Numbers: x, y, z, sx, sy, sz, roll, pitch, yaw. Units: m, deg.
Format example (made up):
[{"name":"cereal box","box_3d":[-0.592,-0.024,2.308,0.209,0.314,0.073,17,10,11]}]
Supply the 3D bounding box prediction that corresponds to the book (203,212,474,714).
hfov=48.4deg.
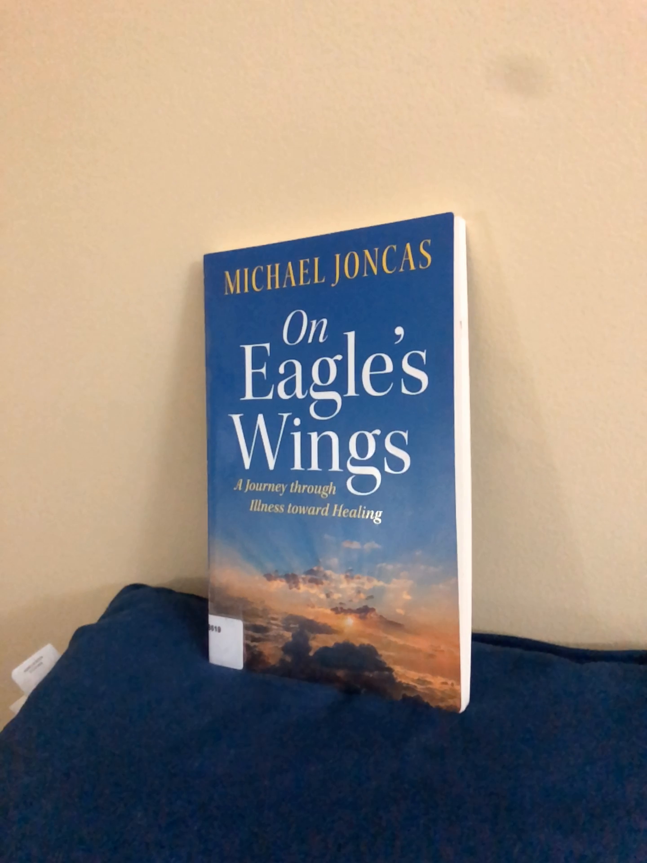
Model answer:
[{"name":"book","box_3d":[0.002,0.013,0.343,0.139,0.211,0.014,0,-1,30]}]
